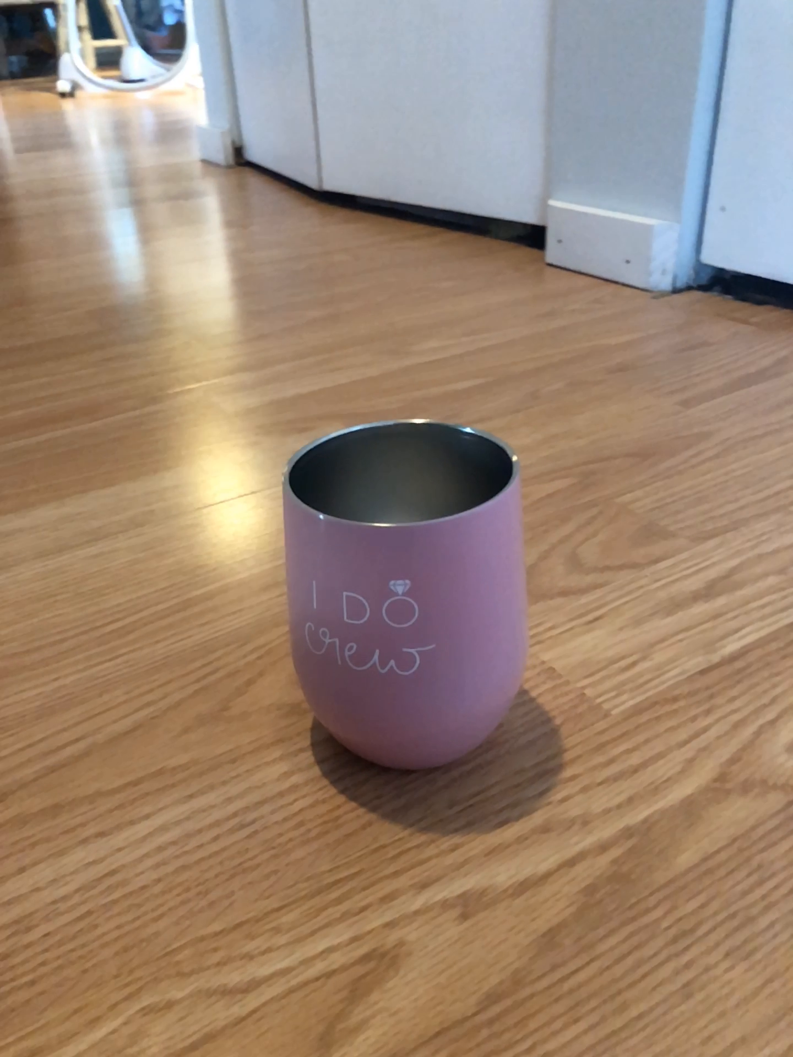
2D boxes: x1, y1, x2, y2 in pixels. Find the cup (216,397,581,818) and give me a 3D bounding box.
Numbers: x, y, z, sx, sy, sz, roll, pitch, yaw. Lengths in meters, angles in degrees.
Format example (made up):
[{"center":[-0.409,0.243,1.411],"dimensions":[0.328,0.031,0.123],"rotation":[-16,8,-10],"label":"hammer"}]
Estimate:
[{"center":[0.006,0.022,0.314],"dimensions":[0.090,0.100,0.090],"rotation":[-2,30,1],"label":"cup"}]
